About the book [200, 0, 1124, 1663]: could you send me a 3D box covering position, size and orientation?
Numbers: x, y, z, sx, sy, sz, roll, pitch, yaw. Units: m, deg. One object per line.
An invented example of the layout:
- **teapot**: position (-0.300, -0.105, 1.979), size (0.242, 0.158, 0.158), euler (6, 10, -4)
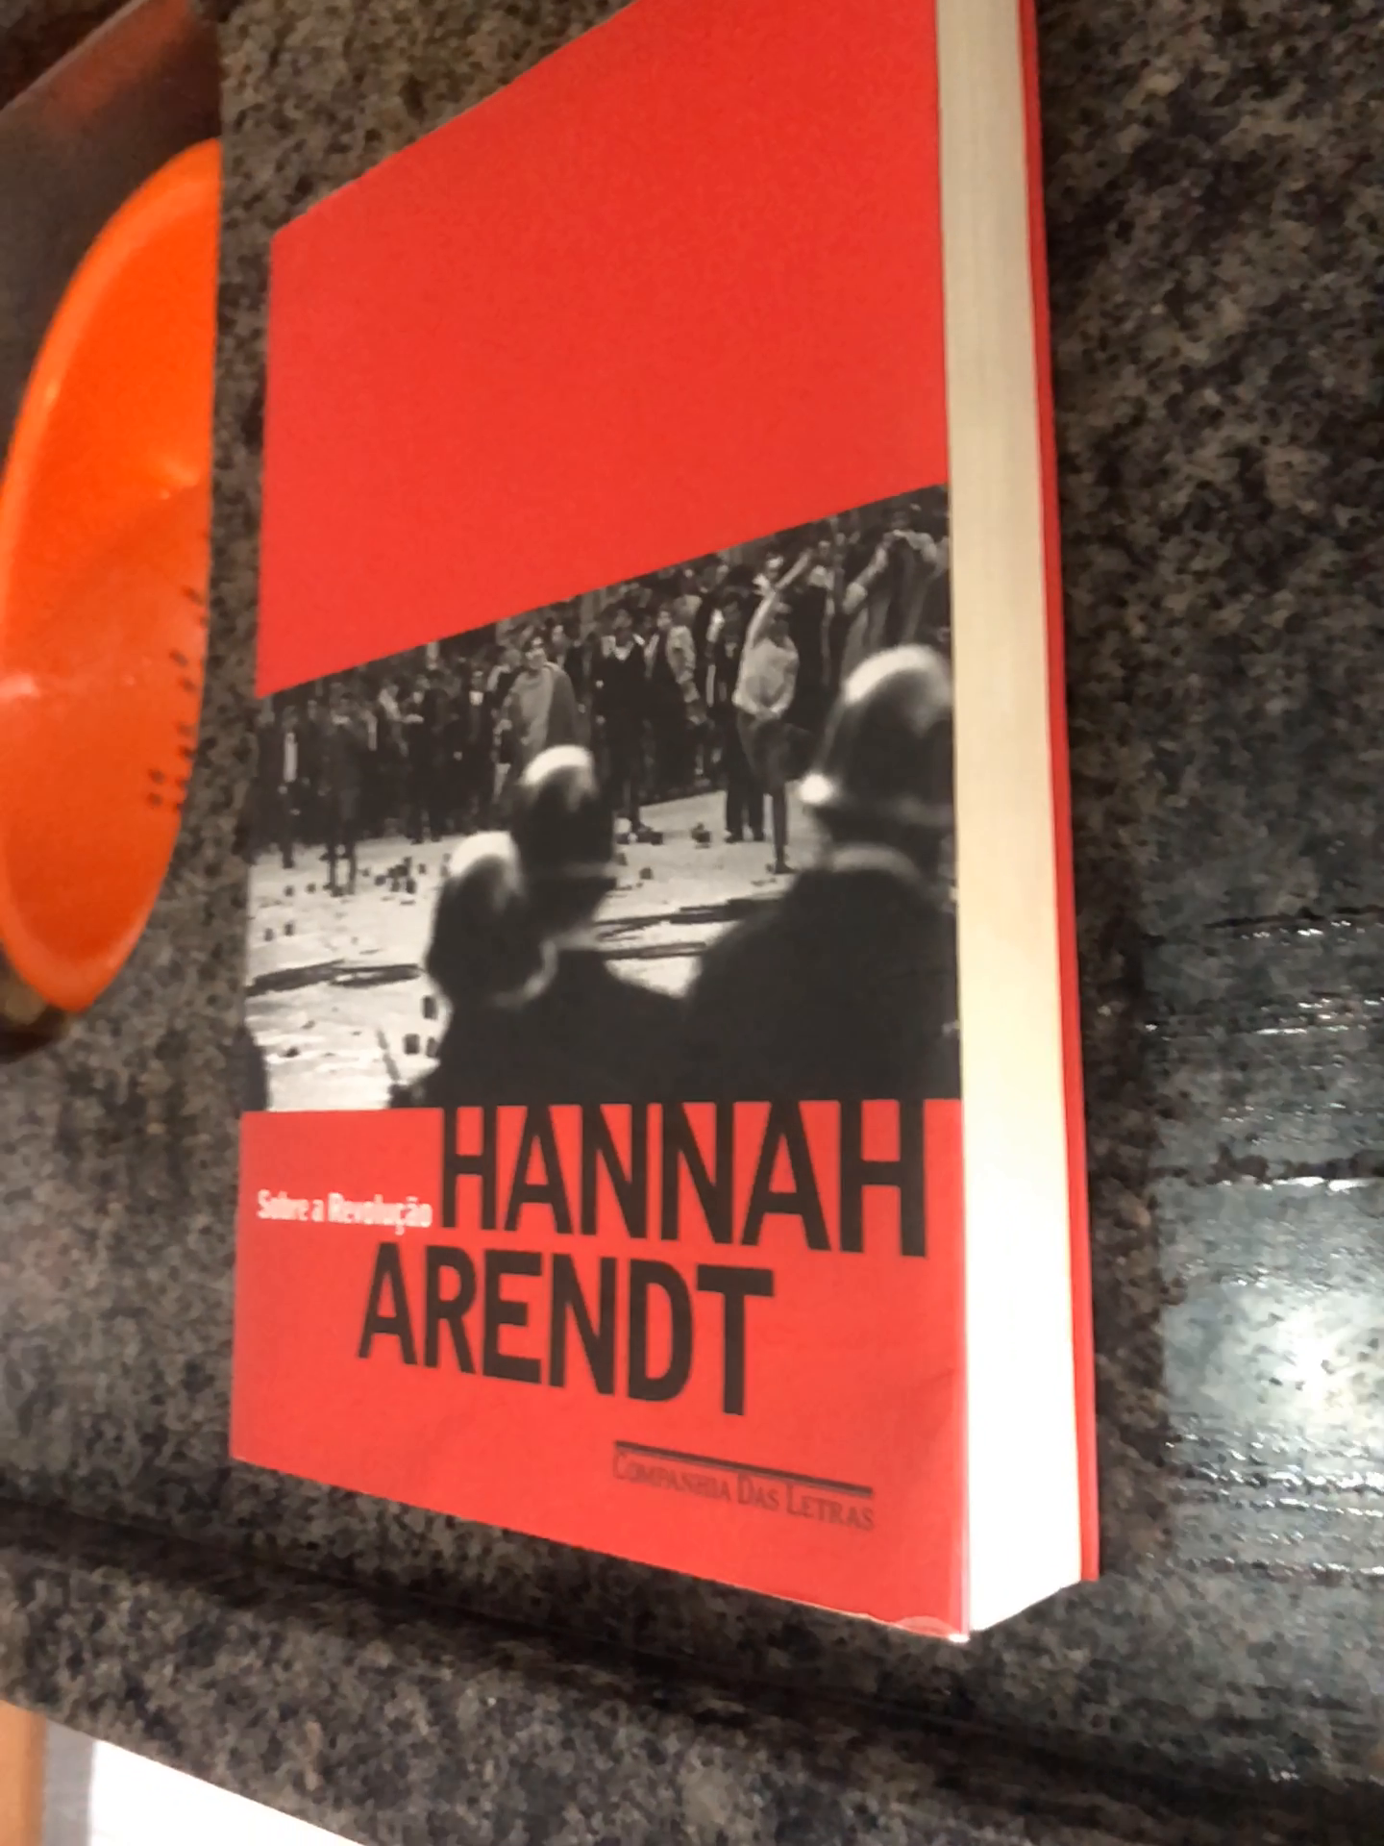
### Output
- **book**: position (-0.015, -0.023, 0.227), size (0.145, 0.030, 0.210), euler (-7, 80, 41)
